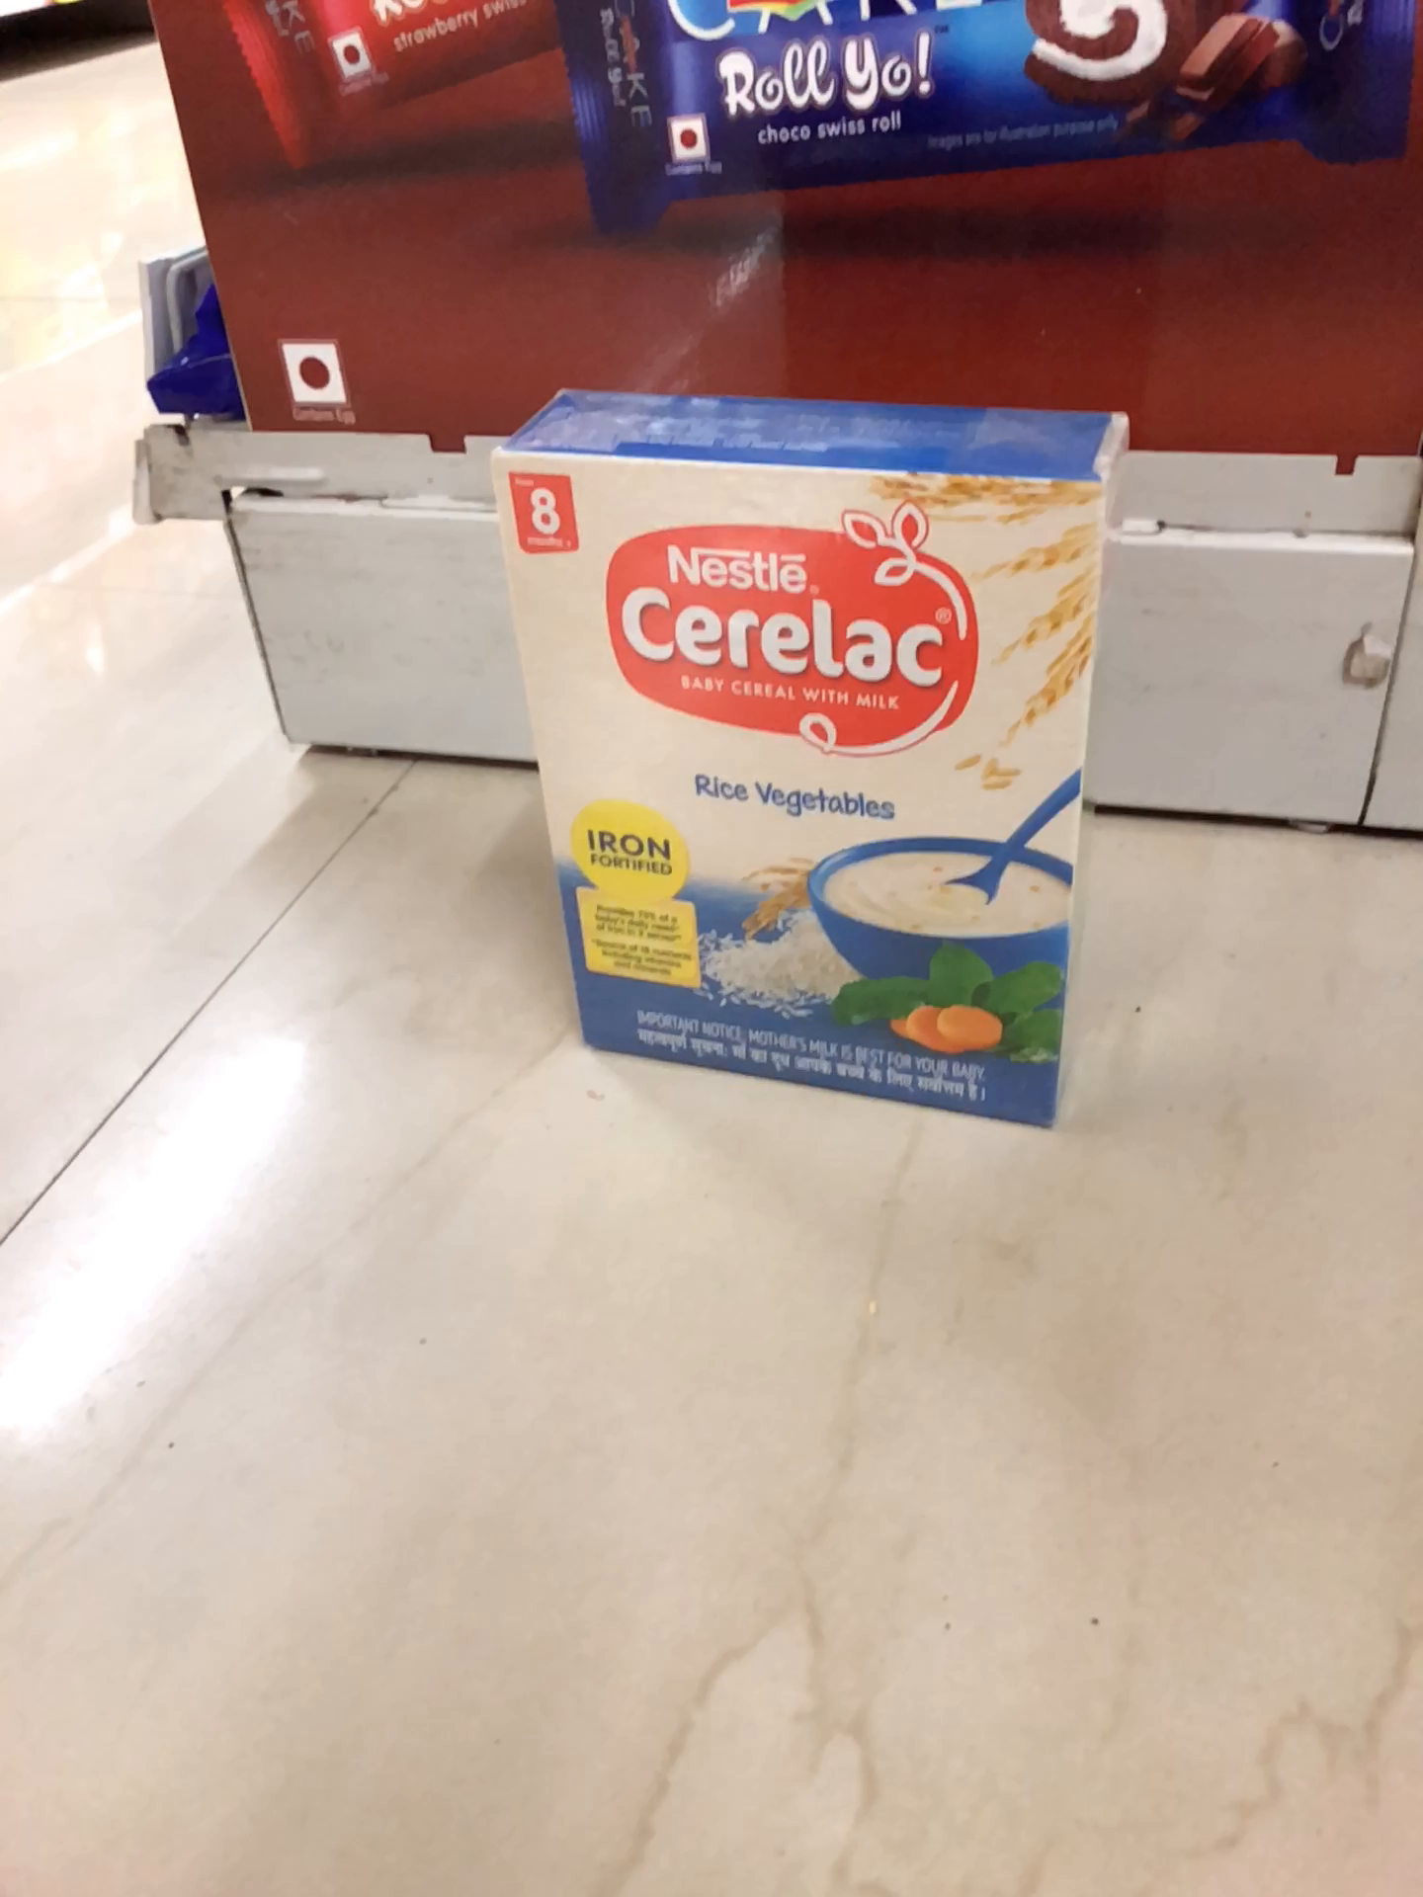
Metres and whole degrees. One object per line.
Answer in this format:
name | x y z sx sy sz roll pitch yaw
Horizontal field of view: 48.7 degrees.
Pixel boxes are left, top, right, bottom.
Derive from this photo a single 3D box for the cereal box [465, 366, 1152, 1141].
cereal box | 0.030 -0.053 0.448 0.160 0.199 0.060 8 37 17
